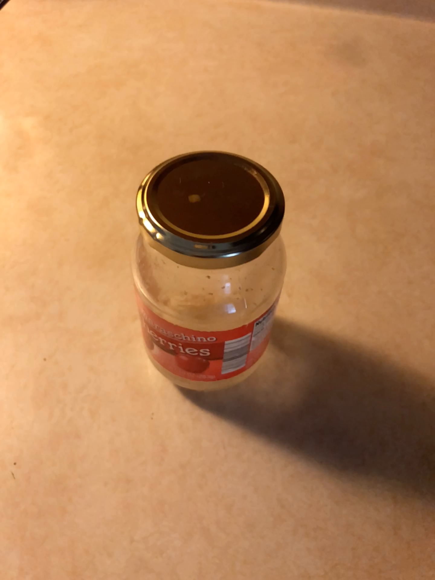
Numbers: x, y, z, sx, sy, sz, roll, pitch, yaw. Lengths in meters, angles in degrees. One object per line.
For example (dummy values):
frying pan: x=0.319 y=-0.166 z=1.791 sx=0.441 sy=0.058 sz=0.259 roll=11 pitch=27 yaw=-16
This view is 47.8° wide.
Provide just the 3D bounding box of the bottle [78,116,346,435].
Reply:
bottle: x=-0.002 y=-0.002 z=0.223 sx=0.070 sy=0.110 sz=0.070 roll=1 pitch=54 yaw=-1
